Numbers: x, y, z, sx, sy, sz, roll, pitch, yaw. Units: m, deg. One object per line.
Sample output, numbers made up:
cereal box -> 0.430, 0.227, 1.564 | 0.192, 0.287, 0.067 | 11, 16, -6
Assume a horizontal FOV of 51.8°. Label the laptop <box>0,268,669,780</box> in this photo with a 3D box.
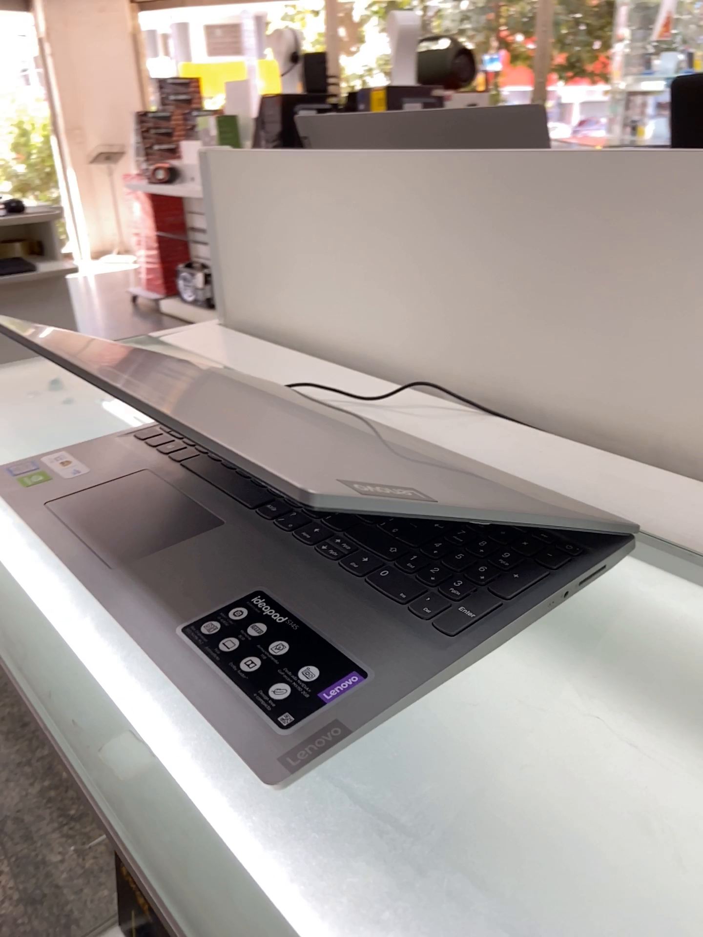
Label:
laptop -> -0.049, -0.028, 0.427 | 0.239, 0.104, 0.354 | -22, 32, -35
